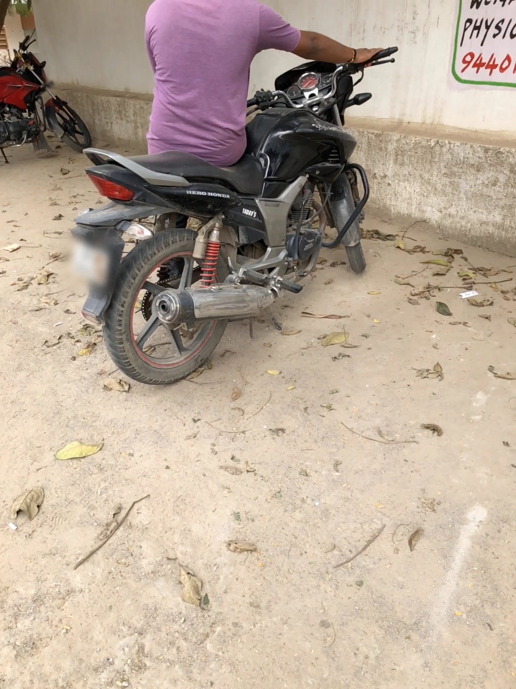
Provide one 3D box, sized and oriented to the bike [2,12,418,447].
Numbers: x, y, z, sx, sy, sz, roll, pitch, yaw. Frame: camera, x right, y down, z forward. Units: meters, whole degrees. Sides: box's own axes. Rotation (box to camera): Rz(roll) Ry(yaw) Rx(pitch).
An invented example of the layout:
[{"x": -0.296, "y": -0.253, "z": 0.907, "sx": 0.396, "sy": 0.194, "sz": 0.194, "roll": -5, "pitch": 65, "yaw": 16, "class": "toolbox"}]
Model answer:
[{"x": -0.026, "y": -0.734, "z": 2.552, "sx": 0.824, "sy": 1.190, "sz": 1.850, "roll": 15, "pitch": 35, "yaw": 30, "class": "bike"}]
